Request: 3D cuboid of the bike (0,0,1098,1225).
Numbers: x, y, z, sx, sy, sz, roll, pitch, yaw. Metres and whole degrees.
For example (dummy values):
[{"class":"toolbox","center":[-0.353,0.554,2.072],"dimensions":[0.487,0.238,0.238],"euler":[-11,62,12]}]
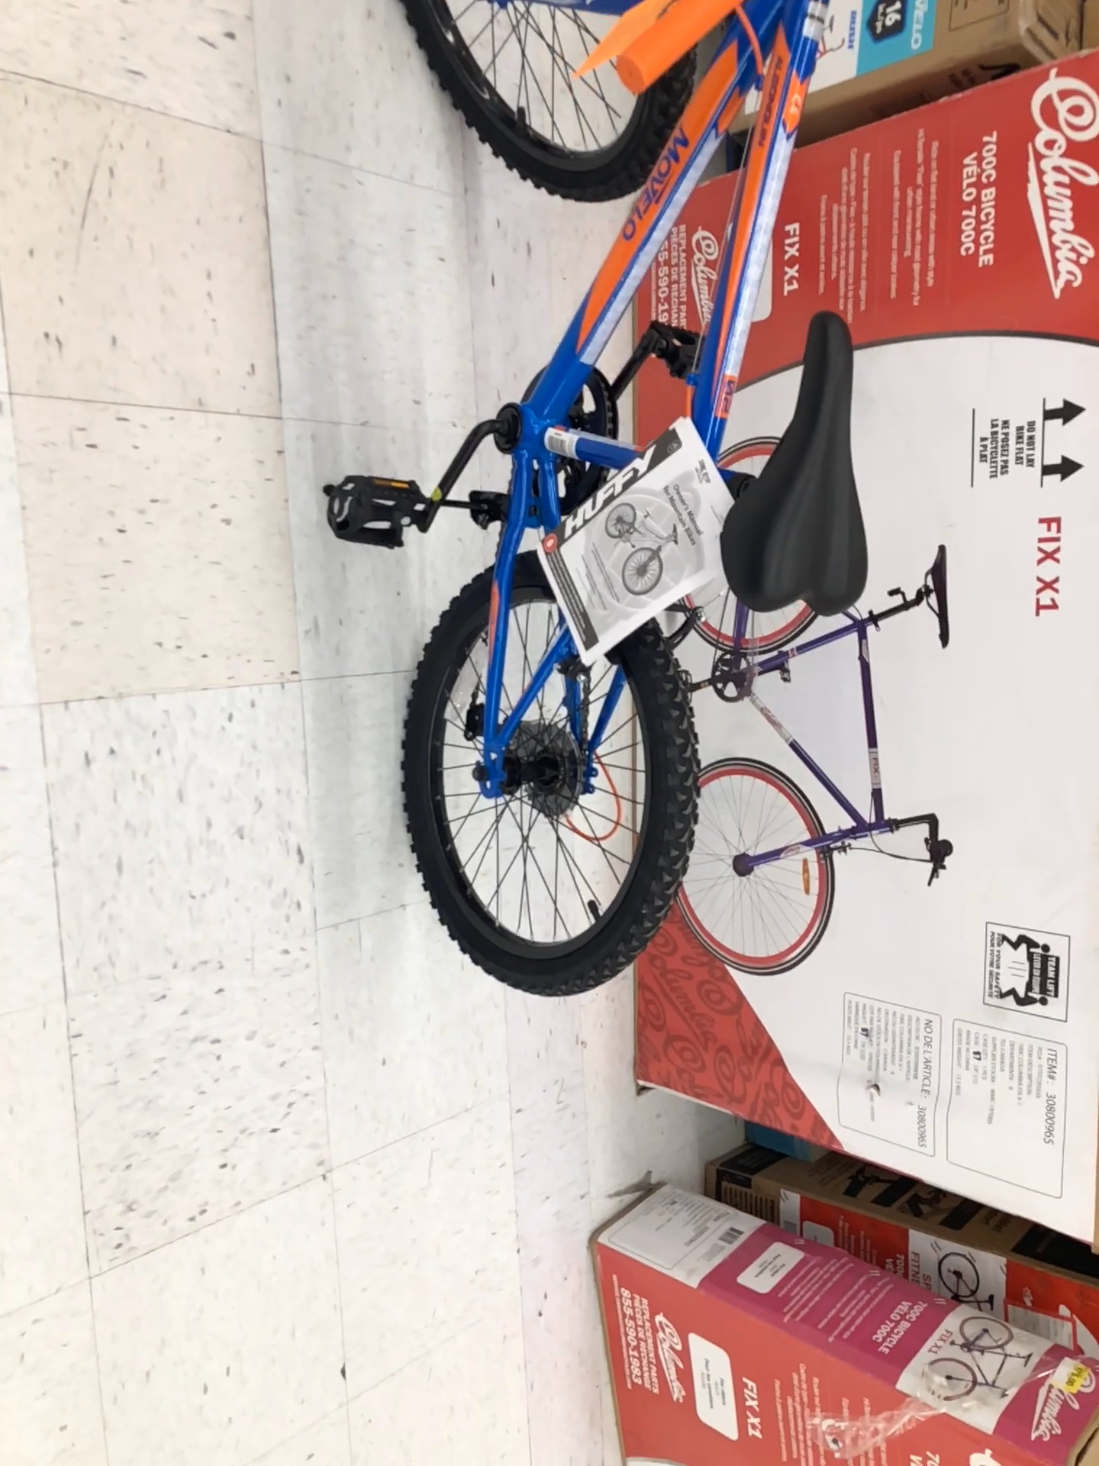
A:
[{"class":"bike","center":[-0.027,-0.381,1.215],"dimensions":[0.587,0.869,1.314],"euler":[-10,95,-45]}]
